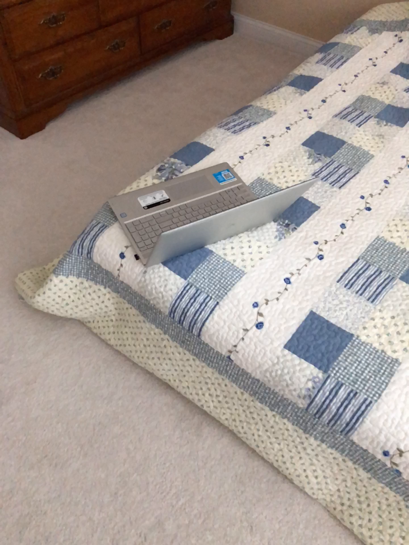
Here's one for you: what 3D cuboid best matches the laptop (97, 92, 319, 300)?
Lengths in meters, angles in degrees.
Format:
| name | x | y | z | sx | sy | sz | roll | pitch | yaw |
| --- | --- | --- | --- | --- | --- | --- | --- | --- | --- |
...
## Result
| name | x | y | z | sx | sy | sz | roll | pitch | yaw |
| --- | --- | --- | --- | --- | --- | --- | --- | --- | --- |
| laptop | -0.007 | -0.196 | 1.045 | 0.355 | 0.208 | 0.359 | -21 | 54 | -18 |
